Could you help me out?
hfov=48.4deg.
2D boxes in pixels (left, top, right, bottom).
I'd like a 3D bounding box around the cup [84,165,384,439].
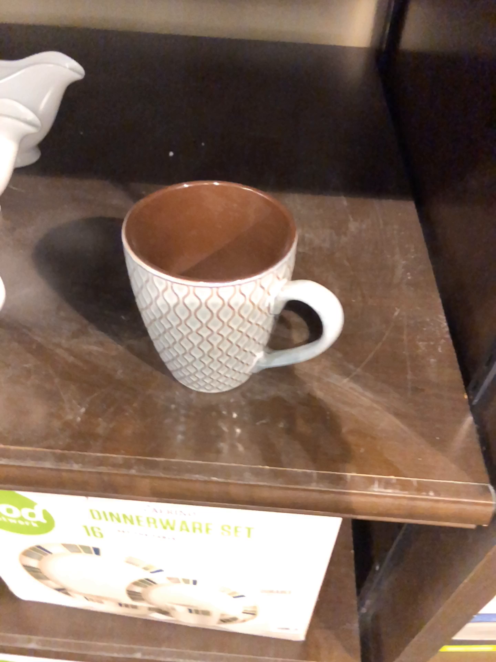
[{"bbox_3d":[-0.004,-0.018,0.320,0.132,0.098,0.085,15,51,12],"label":"cup"}]
